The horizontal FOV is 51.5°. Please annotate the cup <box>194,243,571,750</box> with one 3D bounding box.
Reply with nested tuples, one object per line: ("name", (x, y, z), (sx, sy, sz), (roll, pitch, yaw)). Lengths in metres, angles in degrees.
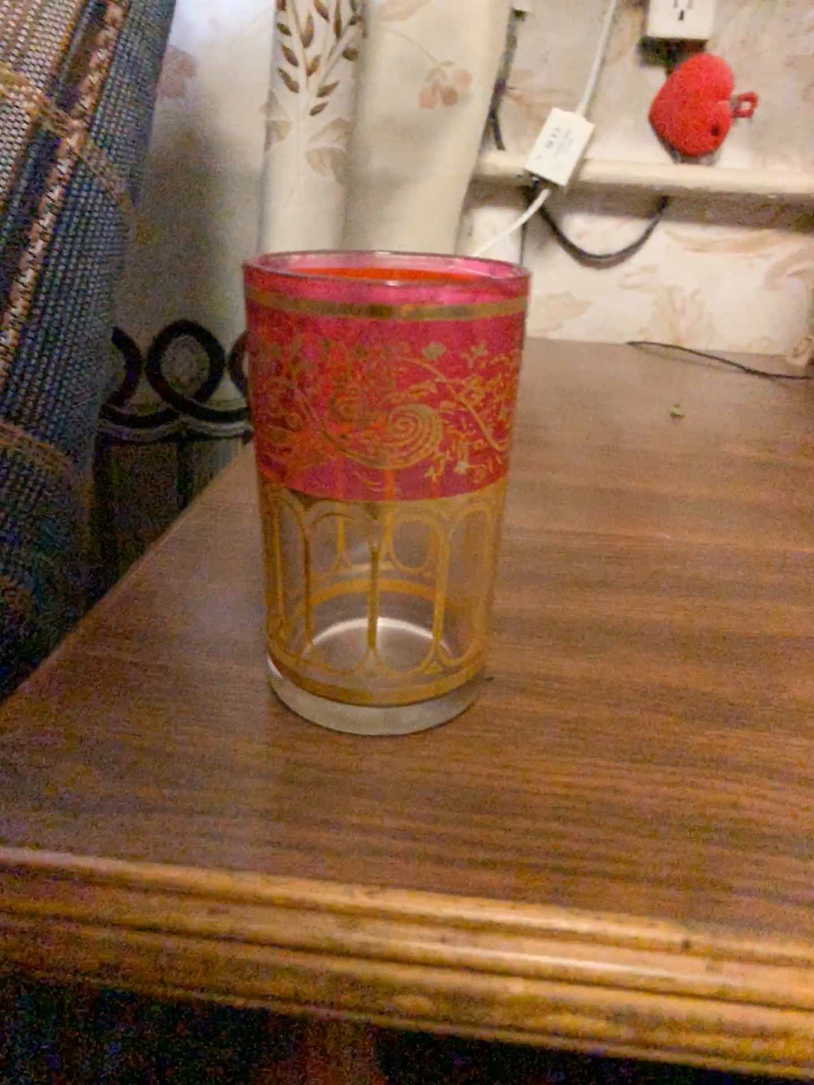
("cup", (-0.006, -0.015, 0.199), (0.066, 0.099, 0.070), (2, 21, -1))
